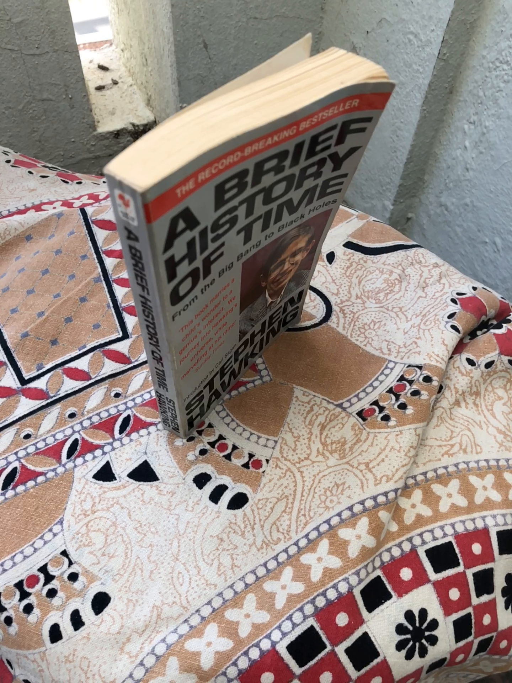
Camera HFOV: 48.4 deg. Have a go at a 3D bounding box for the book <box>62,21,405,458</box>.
[{"bbox_3d":[-0.006,-0.032,0.260,0.030,0.170,0.130,41,62,21],"label":"book"}]
